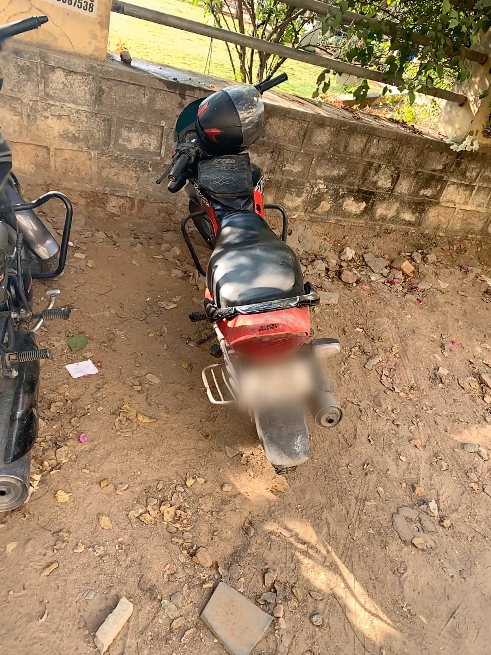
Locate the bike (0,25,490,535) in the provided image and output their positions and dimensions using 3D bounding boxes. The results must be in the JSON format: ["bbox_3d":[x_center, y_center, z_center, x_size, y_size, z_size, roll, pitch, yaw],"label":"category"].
[{"bbox_3d":[-0.249,-0.296,1.982,1.064,1.245,1.602,5,33,-19],"label":"bike"}]
